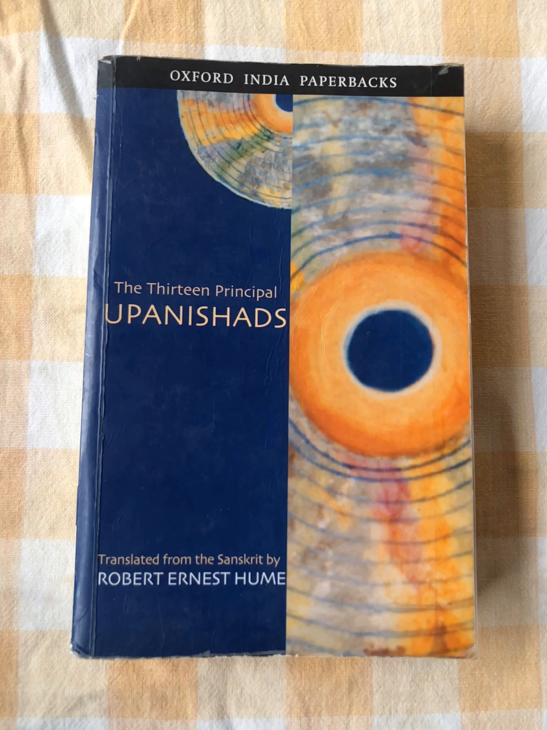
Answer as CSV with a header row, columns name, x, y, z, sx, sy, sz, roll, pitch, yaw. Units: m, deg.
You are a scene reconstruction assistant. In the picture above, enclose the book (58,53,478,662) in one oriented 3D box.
name,x,y,z,sx,sy,sz,roll,pitch,yaw
book,-0.001,-0.005,0.233,0.140,0.040,0.210,1,85,-3
